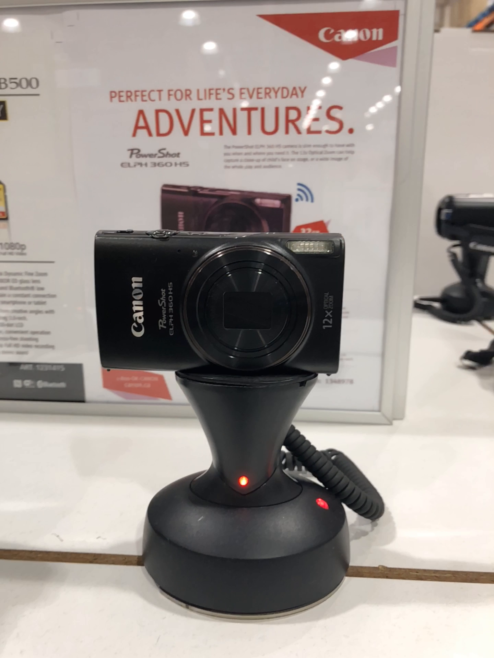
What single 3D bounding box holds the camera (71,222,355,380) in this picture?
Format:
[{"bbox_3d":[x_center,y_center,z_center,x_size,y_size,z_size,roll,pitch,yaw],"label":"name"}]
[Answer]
[{"bbox_3d":[-0.013,-0.013,0.235,0.110,0.060,0.030,1,15,4],"label":"camera"}]
